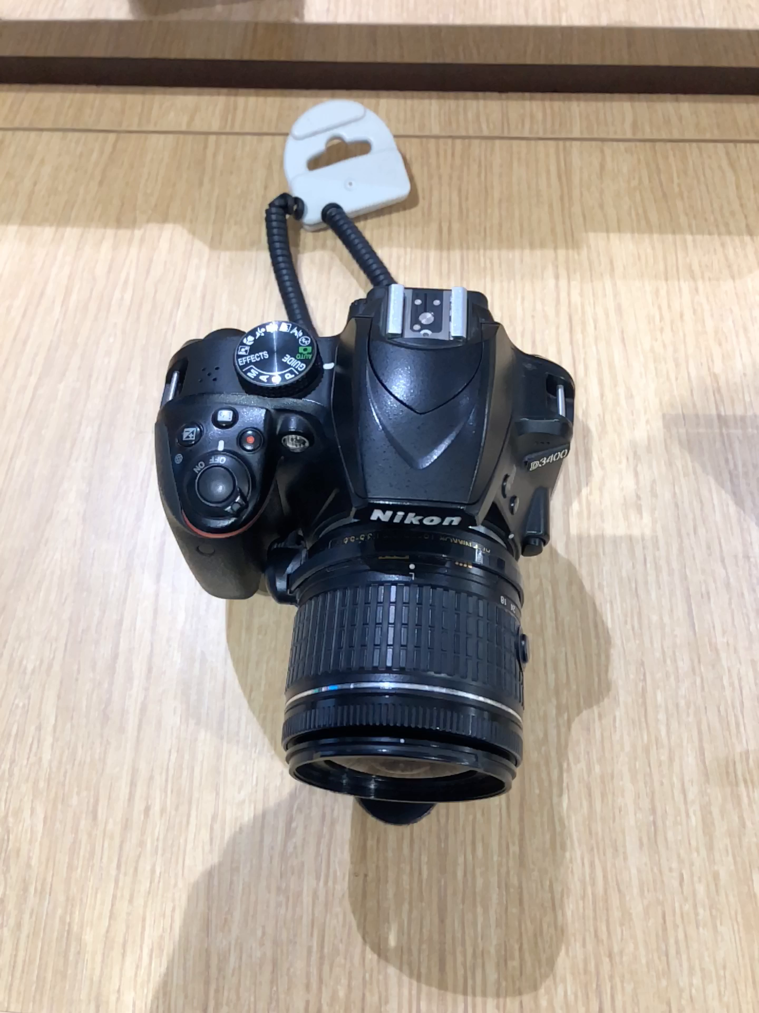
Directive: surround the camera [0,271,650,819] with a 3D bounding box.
[{"bbox_3d":[-0.011,0.012,0.231,0.133,0.084,0.121,2,61,2],"label":"camera"}]
